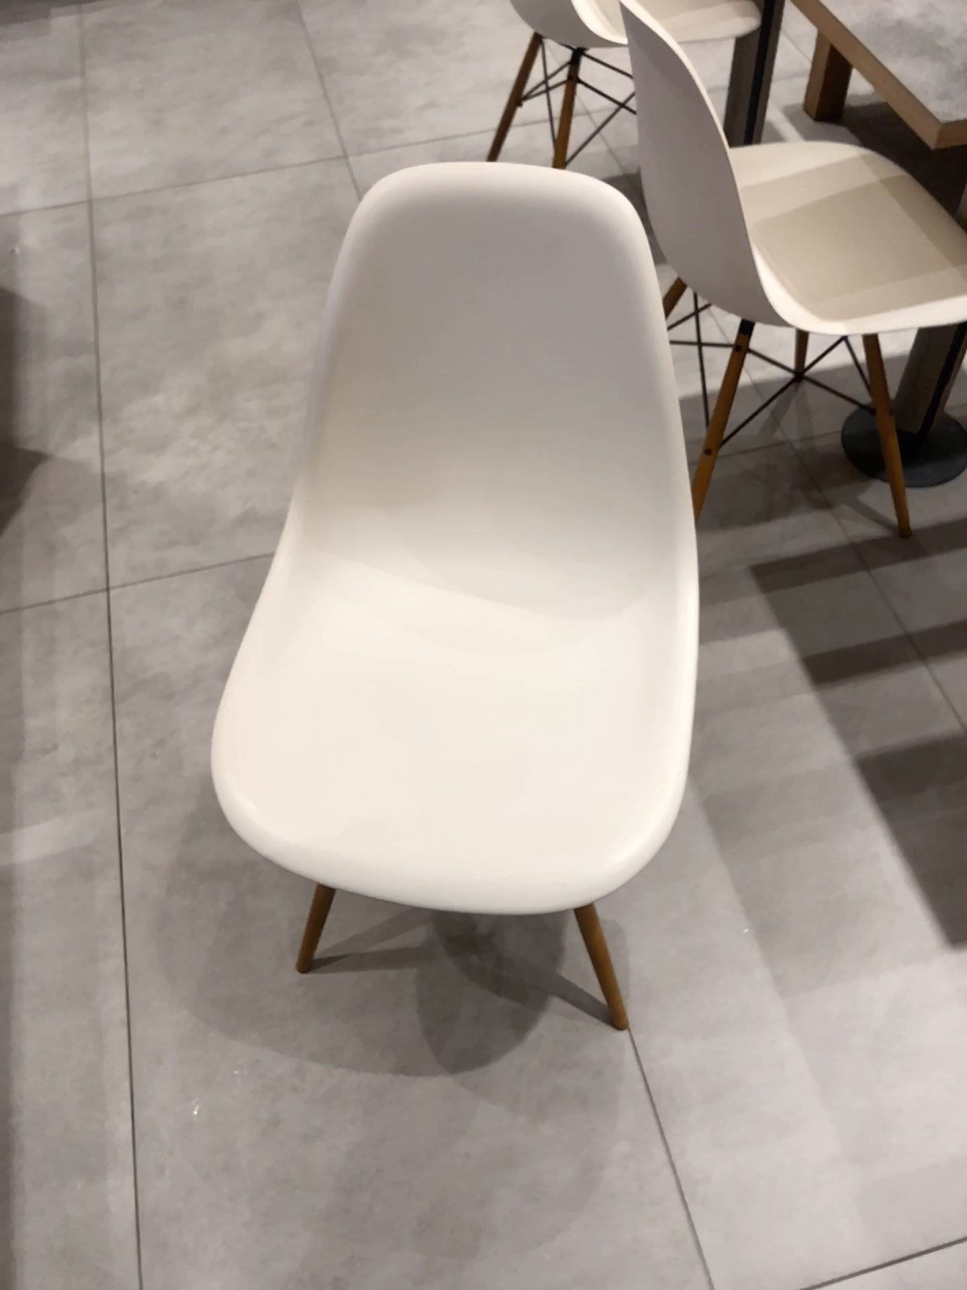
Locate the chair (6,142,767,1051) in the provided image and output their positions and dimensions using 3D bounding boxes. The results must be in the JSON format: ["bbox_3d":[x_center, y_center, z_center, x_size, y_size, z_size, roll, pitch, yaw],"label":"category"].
[{"bbox_3d":[-0.011,-0.003,1.138,0.471,0.779,0.555,7,54,9],"label":"chair"}]

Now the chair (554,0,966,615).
[{"bbox_3d":[0.427,-0.549,1.520,0.512,0.769,0.563,-13,54,-6],"label":"chair"}]
